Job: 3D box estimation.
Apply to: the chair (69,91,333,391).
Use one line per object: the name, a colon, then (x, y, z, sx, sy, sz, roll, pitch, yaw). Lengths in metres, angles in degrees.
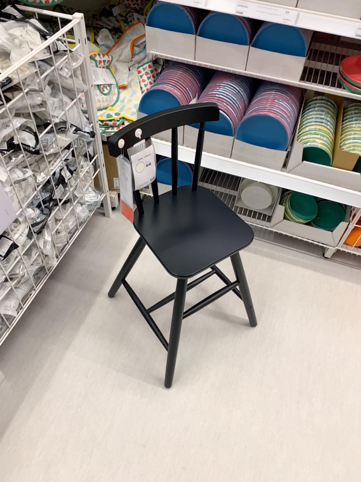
chair: (0.018, 0.030, 1.108, 0.420, 0.688, 0.461, -27, 57, -23)
